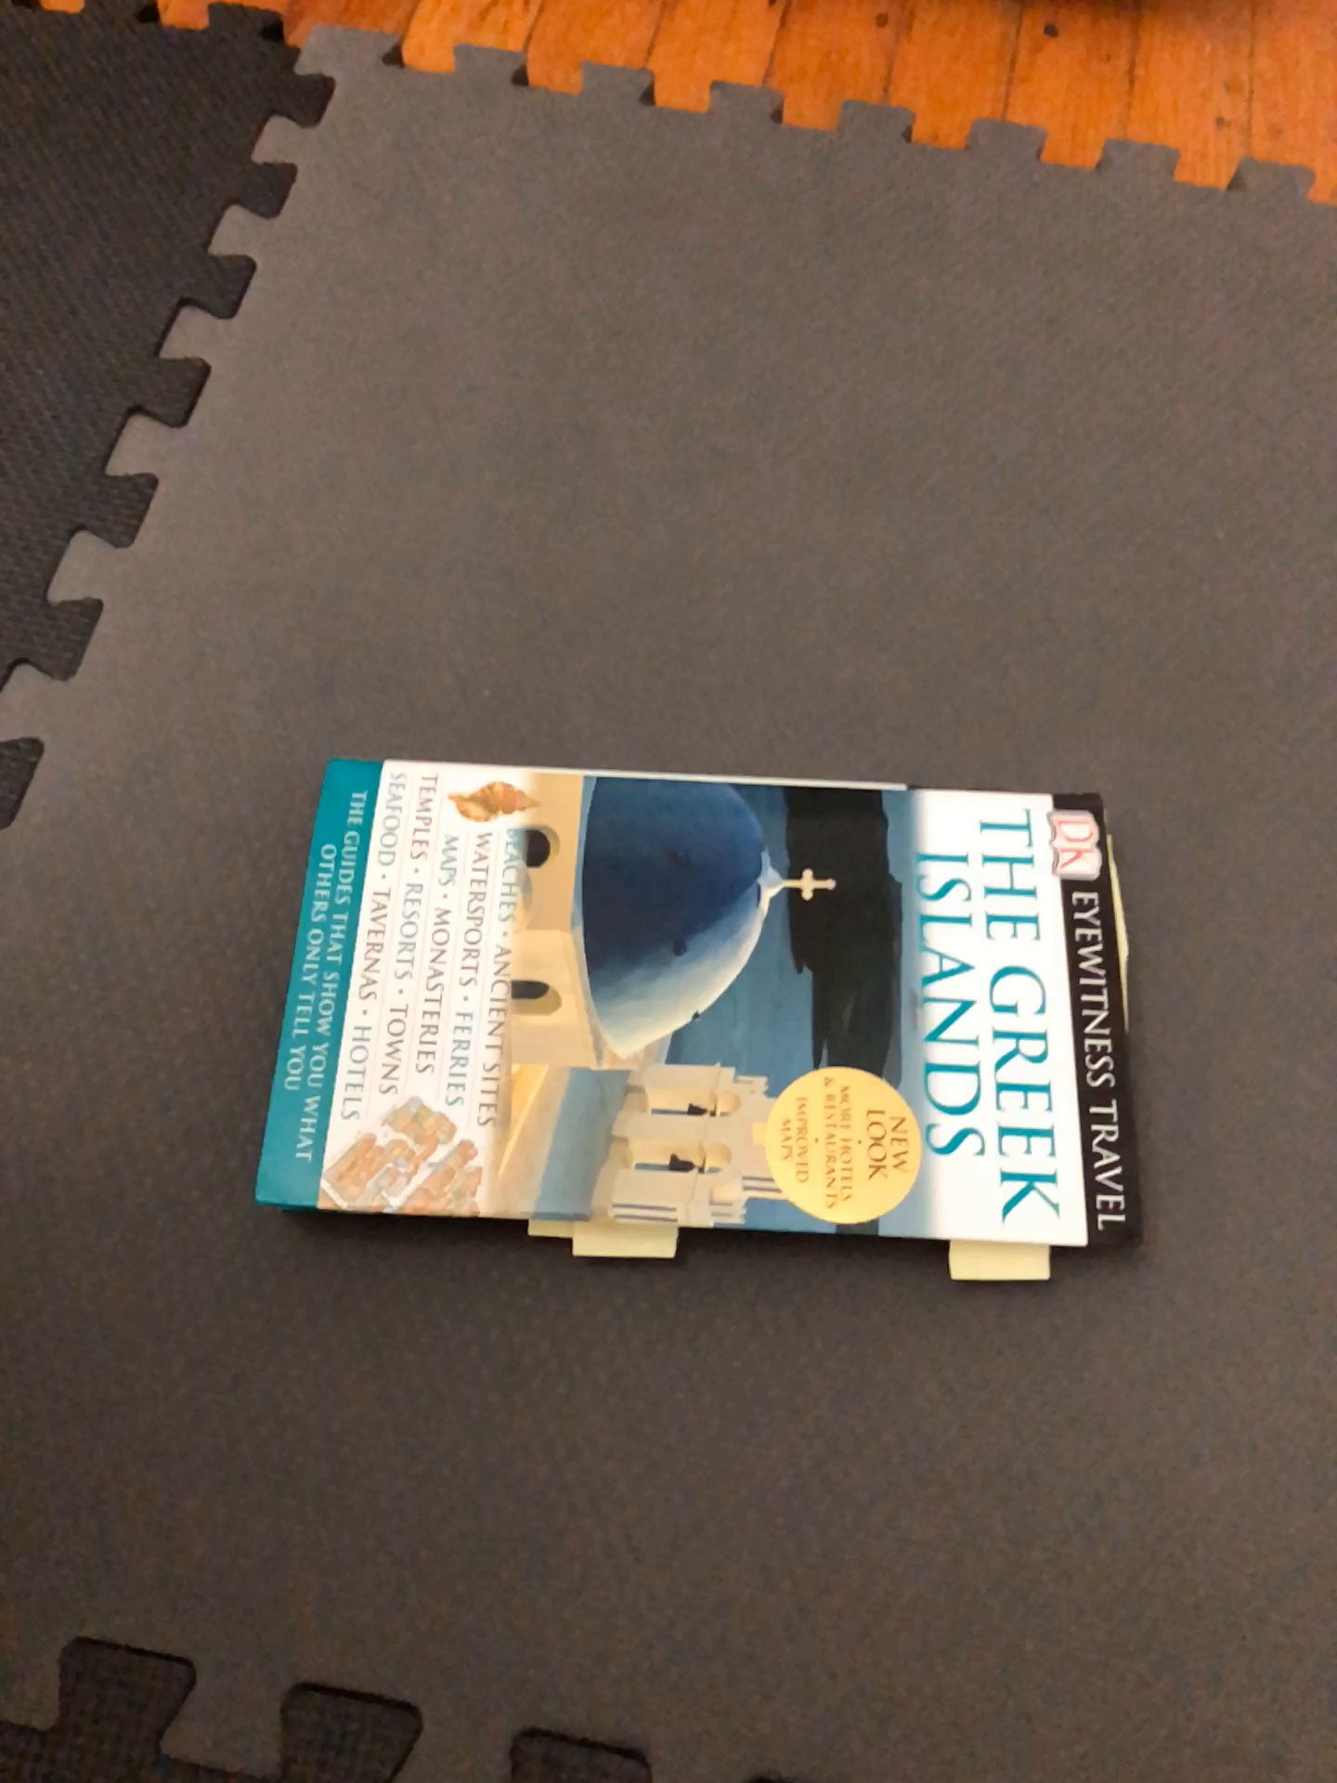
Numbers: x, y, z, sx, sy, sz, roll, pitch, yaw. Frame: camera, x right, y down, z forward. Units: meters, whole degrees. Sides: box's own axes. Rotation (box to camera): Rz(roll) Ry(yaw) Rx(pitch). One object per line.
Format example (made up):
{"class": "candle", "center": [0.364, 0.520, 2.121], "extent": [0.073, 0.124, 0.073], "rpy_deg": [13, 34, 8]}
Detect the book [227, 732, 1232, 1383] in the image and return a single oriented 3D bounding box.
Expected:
{"class": "book", "center": [0.019, 0.040, 0.402], "extent": [0.240, 0.030, 0.161], "rpy_deg": [4, 63, 0]}
